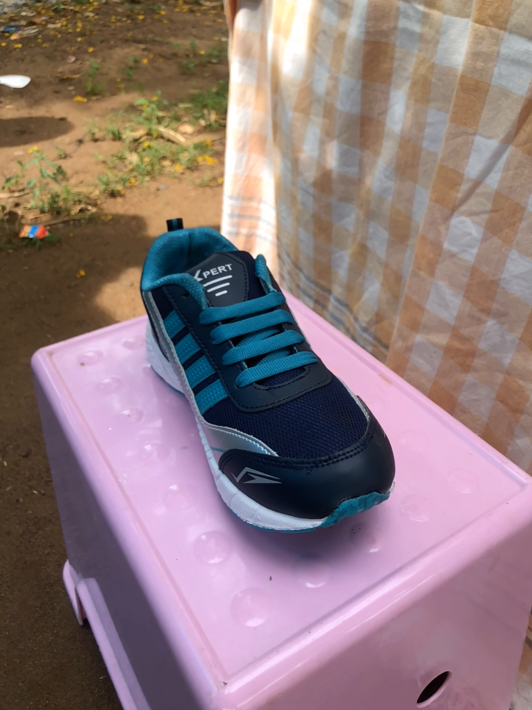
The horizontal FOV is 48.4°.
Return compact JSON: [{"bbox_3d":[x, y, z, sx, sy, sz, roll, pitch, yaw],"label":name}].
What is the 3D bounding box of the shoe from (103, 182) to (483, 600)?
[{"bbox_3d":[-0.007,-0.004,0.393,0.110,0.109,0.271,-18,42,-22],"label":"shoe"}]
